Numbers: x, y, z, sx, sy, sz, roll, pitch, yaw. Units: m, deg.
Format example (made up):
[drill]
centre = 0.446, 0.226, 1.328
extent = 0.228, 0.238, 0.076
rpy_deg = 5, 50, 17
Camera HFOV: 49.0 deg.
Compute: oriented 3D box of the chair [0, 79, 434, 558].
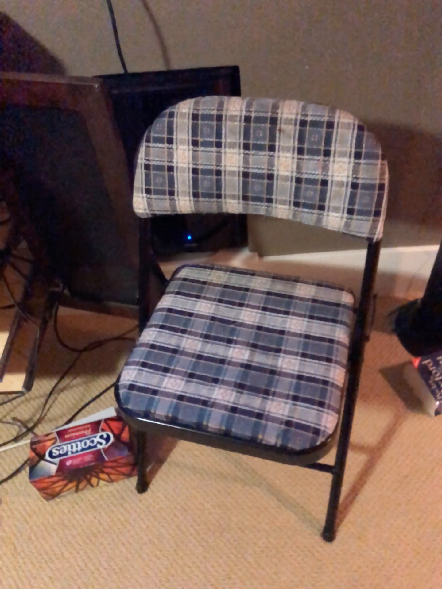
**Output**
[chair]
centre = 0.067, 0.058, 0.976
extent = 0.501, 0.705, 0.563
rpy_deg = 11, 50, 15
